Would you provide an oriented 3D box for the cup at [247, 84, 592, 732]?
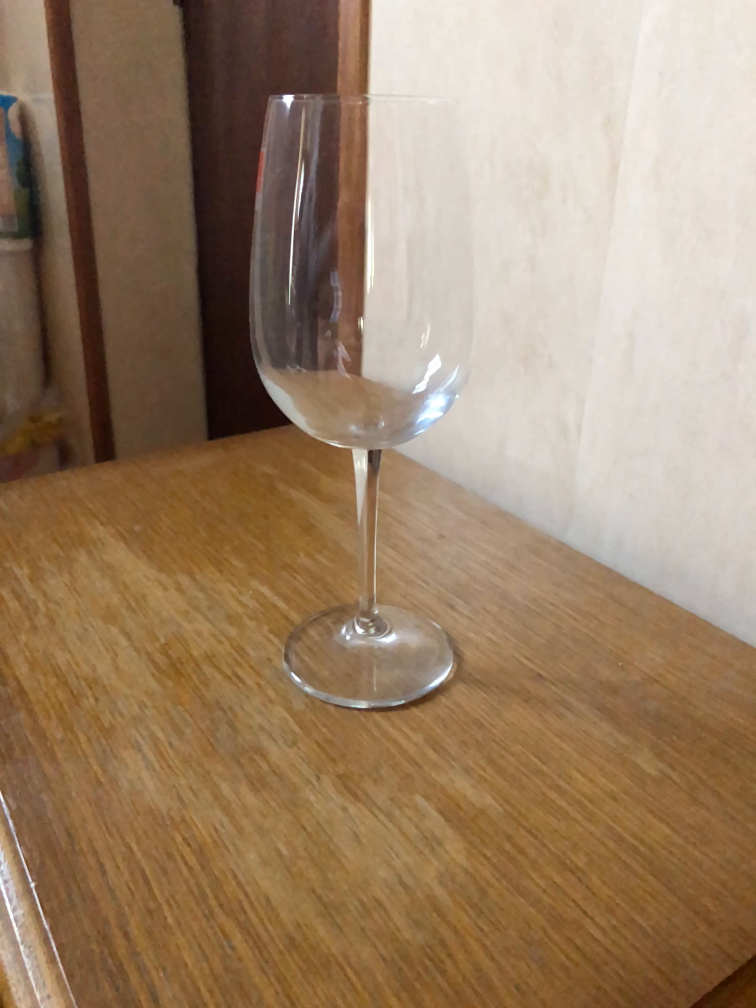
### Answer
[{"bbox_3d":[0.004,-0.036,0.332,0.100,0.229,0.090,-3,25,-10],"label":"cup"}]
